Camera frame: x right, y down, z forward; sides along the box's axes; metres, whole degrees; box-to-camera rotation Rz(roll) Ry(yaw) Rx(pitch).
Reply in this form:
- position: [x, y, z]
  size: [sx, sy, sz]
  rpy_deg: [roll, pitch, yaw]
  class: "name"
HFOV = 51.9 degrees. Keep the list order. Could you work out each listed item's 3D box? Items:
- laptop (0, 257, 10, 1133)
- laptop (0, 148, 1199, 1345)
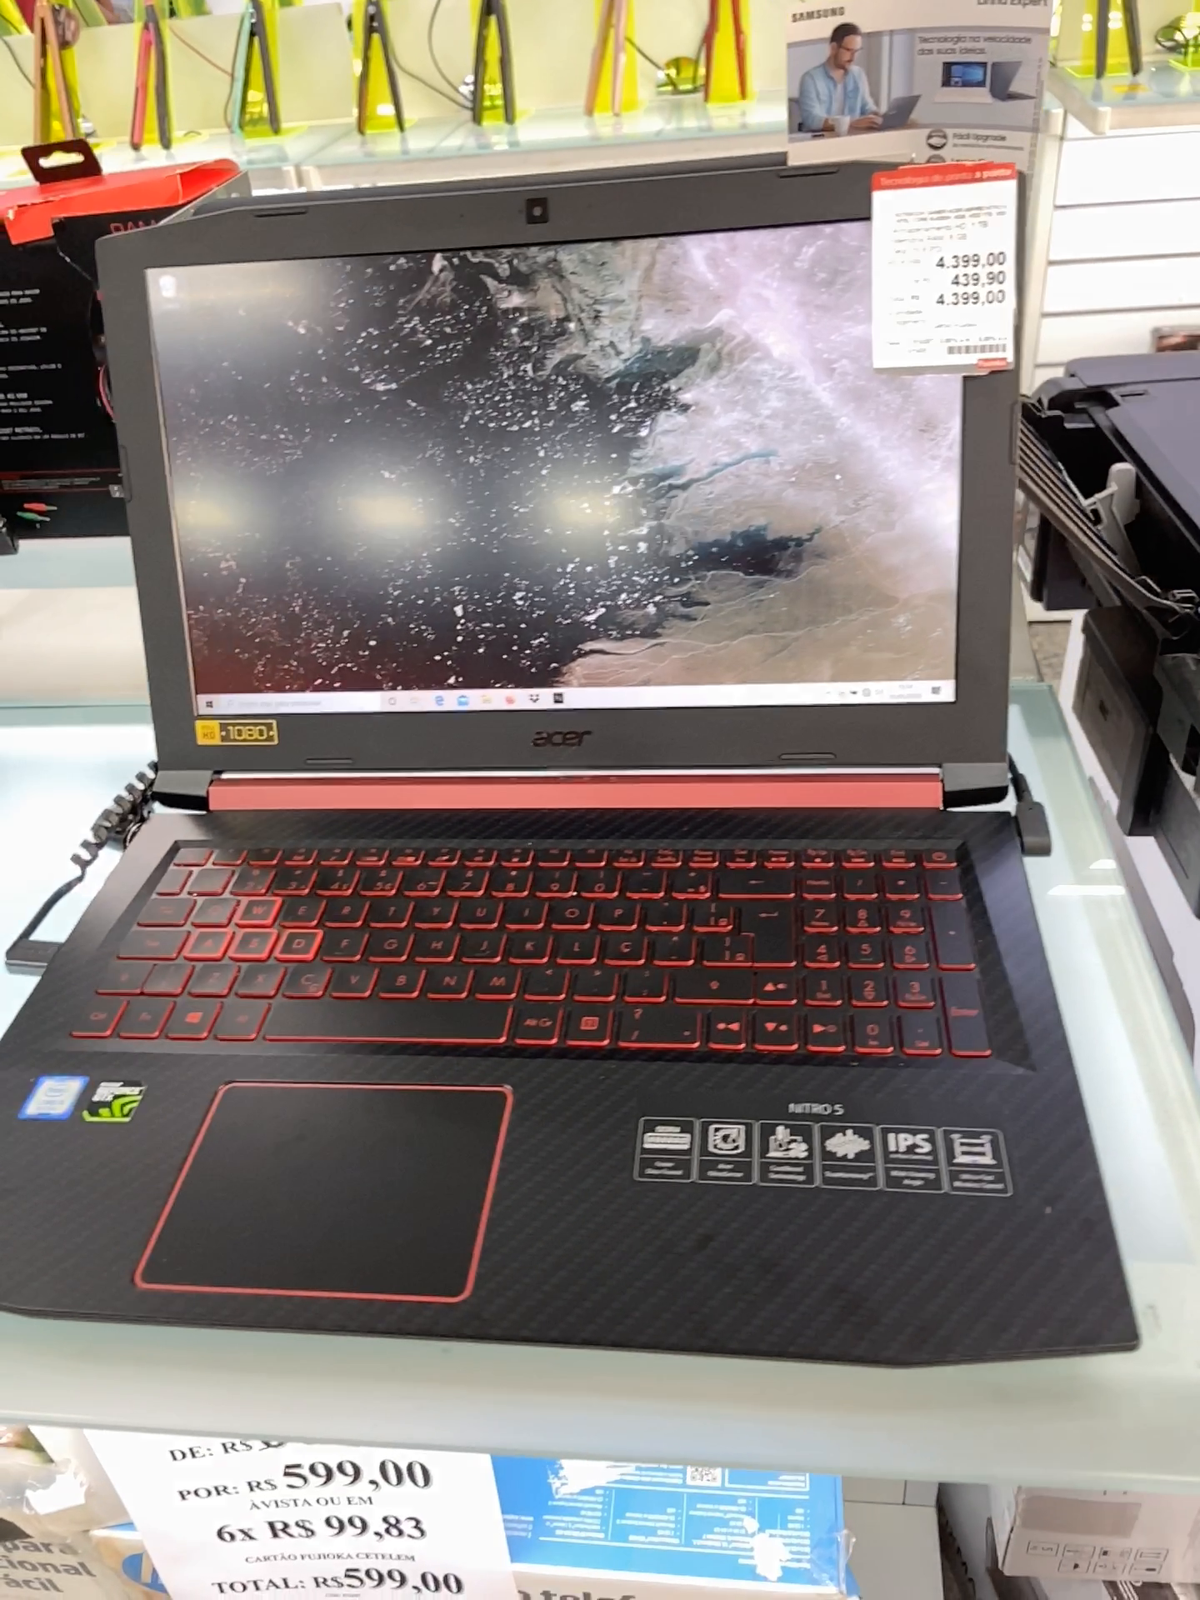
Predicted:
- position: [-0.541, -0.070, 0.539]
  size: [0.354, 0.225, 0.324]
  rpy_deg: [0, 37, 7]
  class: "laptop"
- position: [-0.035, -0.052, 0.435]
  size: [0.387, 0.218, 0.362]
  rpy_deg: [-1, 38, 9]
  class: "laptop"
